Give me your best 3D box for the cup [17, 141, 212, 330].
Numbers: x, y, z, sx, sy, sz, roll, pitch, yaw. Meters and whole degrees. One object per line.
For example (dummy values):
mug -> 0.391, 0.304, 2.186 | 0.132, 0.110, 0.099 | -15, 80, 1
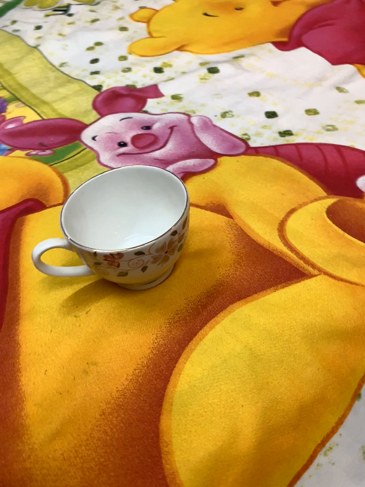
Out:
cup -> -0.045, -0.009, 0.261 | 0.100, 0.060, 0.081 | -25, 49, -12
